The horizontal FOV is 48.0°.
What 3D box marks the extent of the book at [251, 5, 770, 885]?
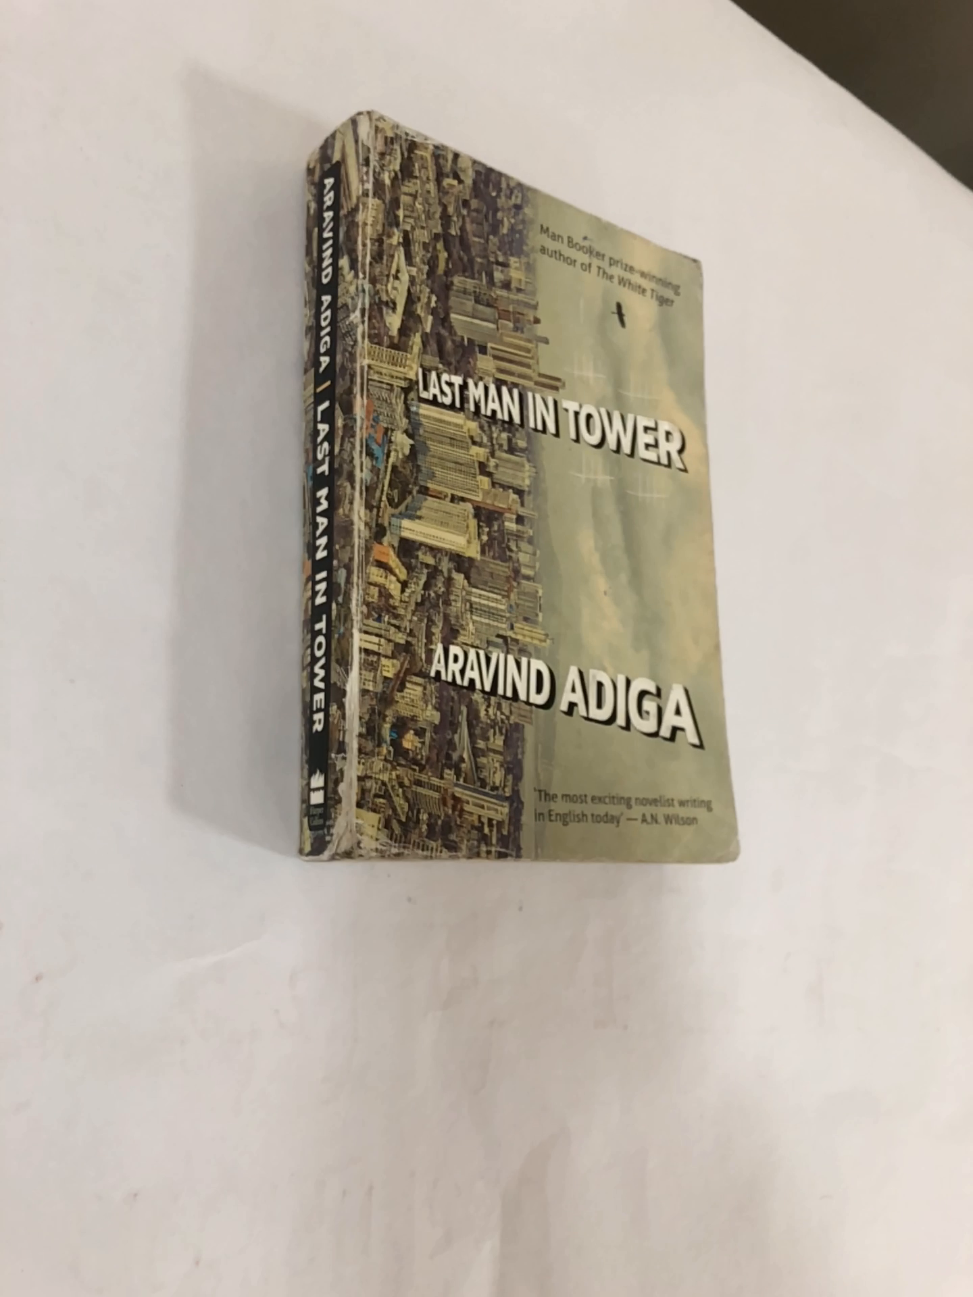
[{"bbox_3d":[0.010,-0.047,0.312,0.151,0.030,0.220,7,75,-36],"label":"book"}]
